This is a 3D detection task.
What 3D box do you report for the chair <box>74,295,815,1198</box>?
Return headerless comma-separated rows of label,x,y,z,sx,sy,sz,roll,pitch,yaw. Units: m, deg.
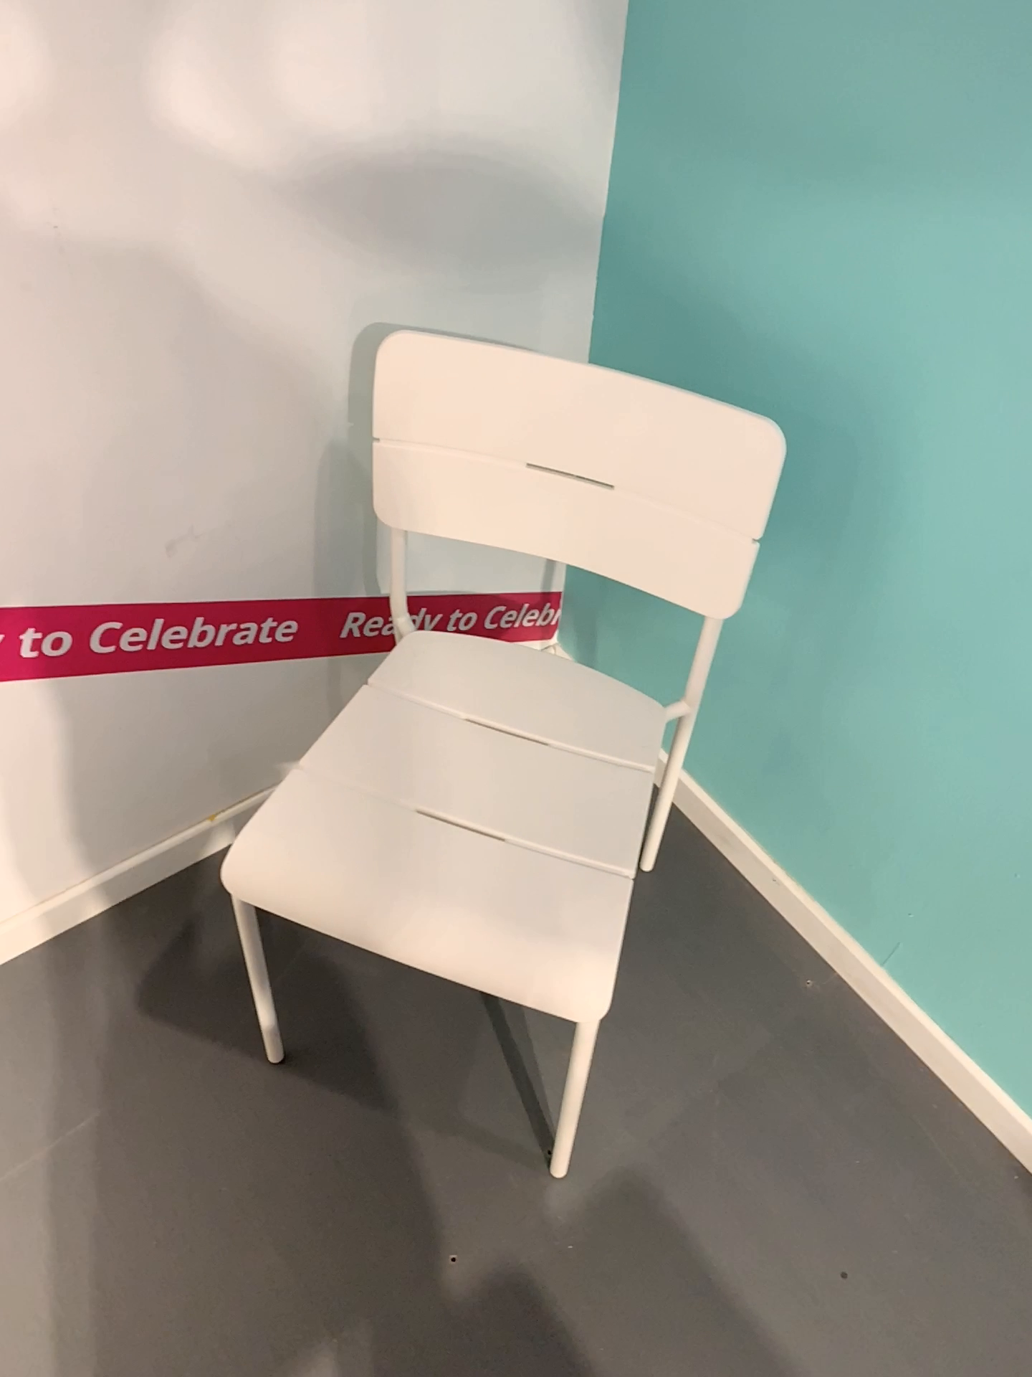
chair,-0.039,0.112,1.116,0.430,0.808,0.451,17,50,11
